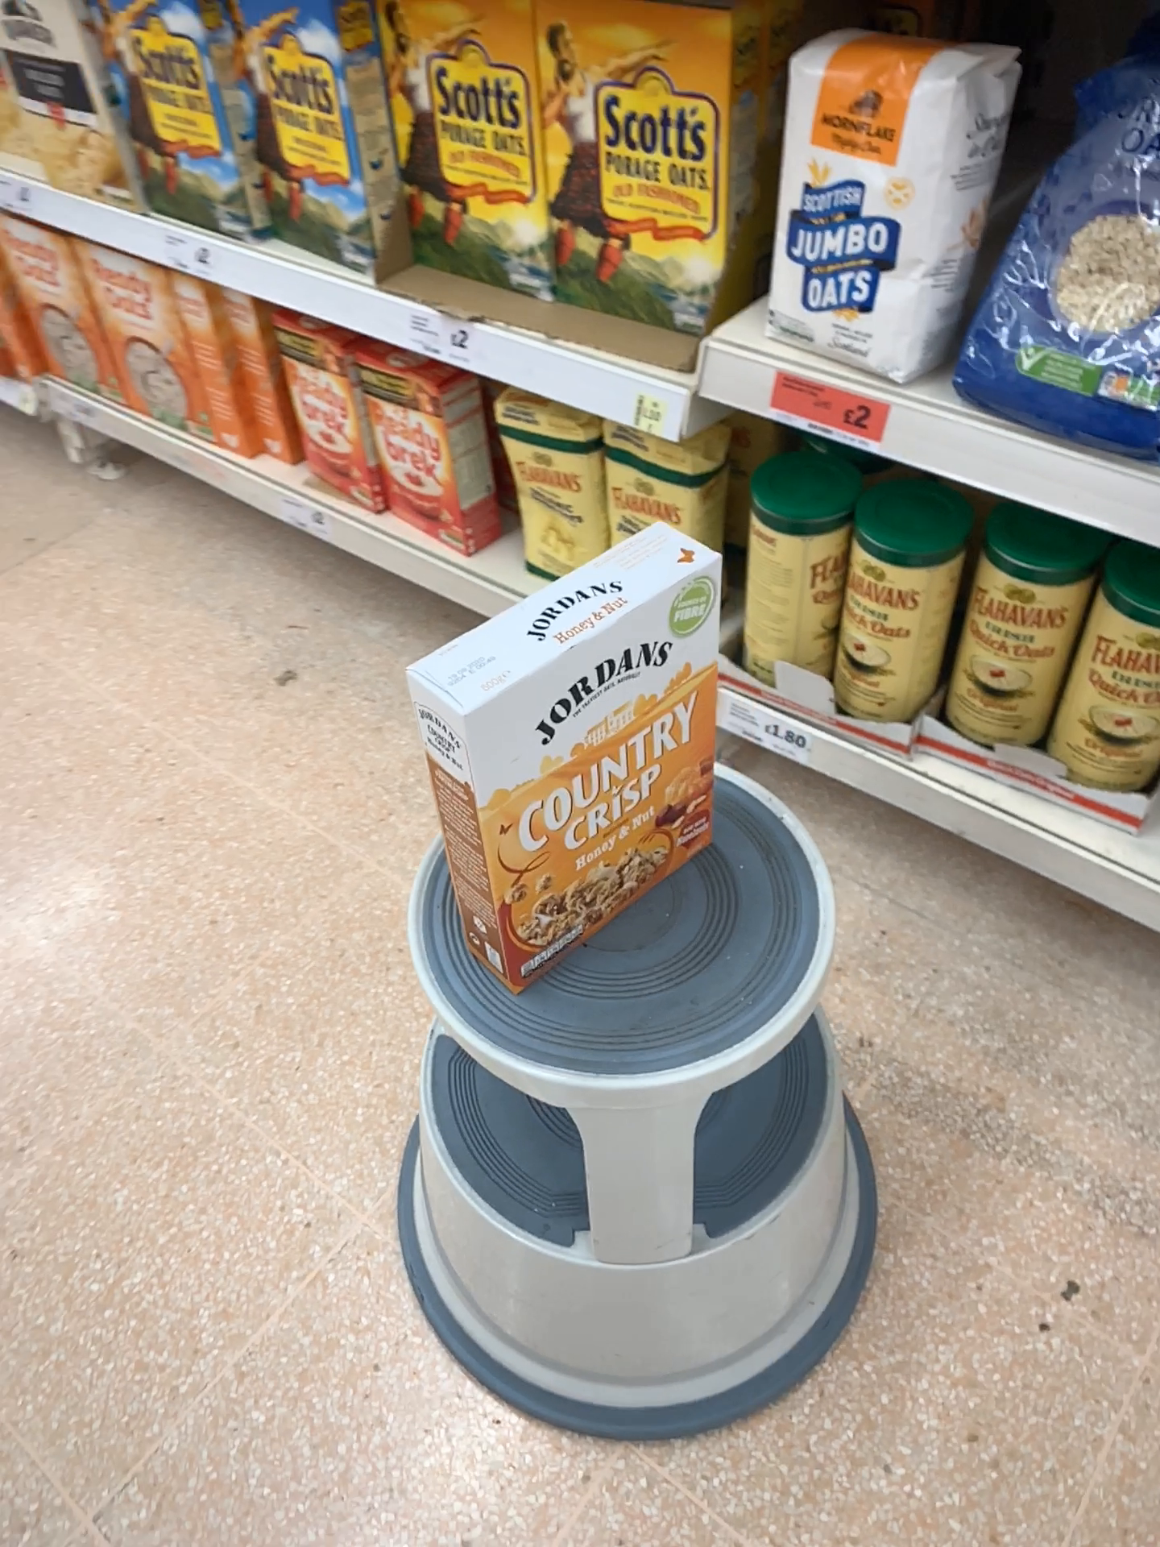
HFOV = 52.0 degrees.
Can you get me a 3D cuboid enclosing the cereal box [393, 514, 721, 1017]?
[{"bbox_3d":[-0.002,0.003,0.704,0.181,0.258,0.050,-34,52,-26],"label":"cereal box"}]
